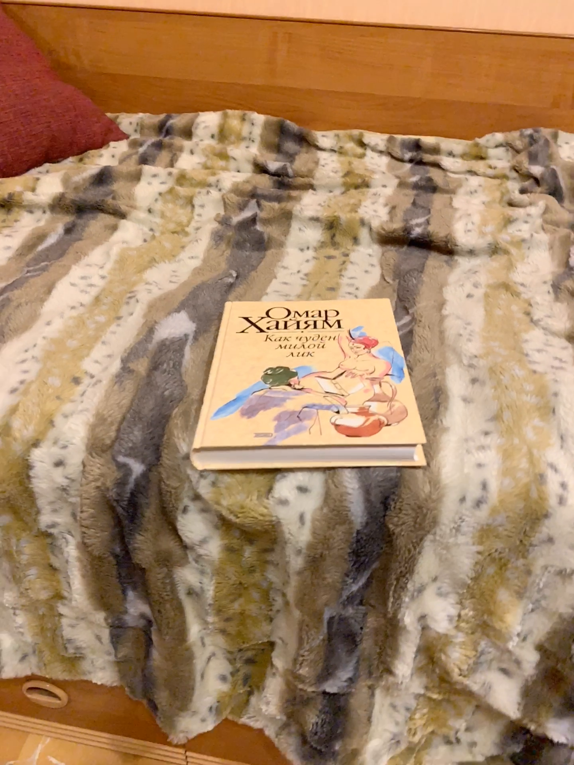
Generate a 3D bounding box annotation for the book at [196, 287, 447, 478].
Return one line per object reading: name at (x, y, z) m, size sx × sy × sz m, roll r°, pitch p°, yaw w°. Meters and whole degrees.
book at (0.027, -0.012, 0.495) m, size 0.170 × 0.030 × 0.222 m, roll -1°, pitch 37°, yaw 3°
